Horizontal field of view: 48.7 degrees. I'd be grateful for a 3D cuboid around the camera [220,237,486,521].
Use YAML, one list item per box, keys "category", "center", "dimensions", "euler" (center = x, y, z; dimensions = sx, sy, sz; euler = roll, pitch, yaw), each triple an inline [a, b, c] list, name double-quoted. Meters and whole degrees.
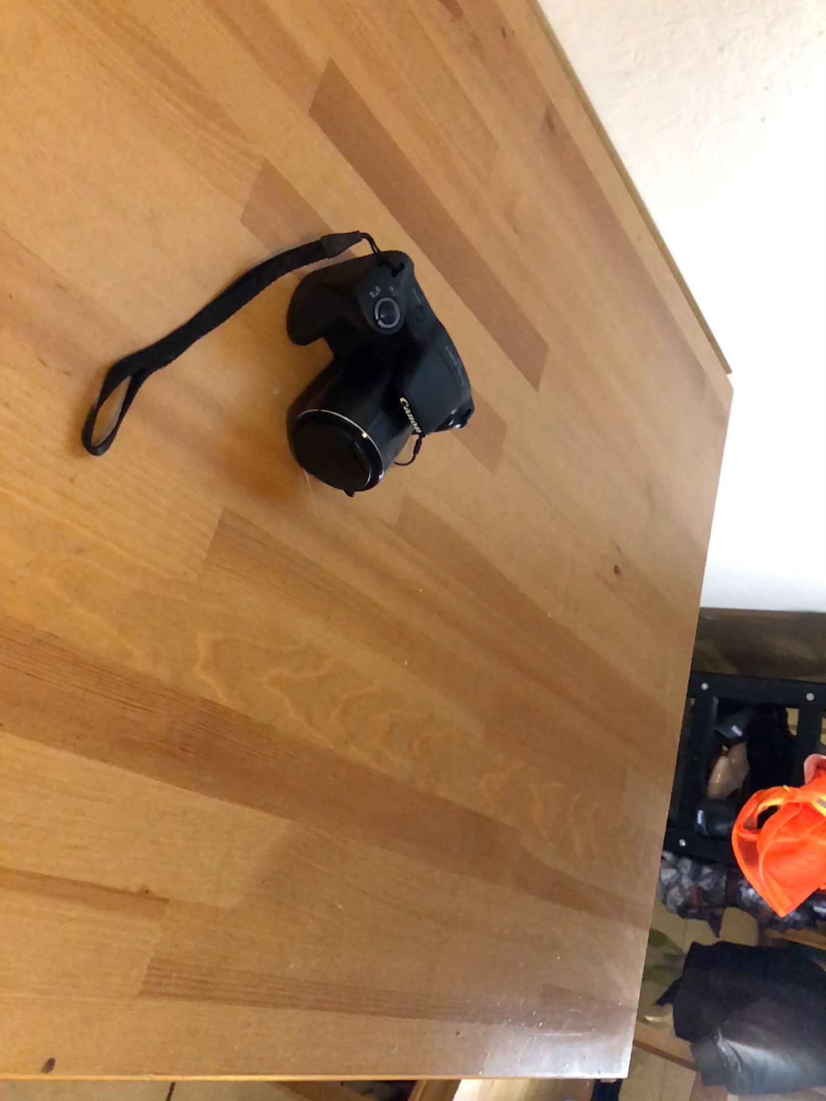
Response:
- category: "camera"
  center: [-0.027, -0.089, 0.492]
  dimensions: [0.097, 0.062, 0.109]
  euler: [-58, 133, -34]
